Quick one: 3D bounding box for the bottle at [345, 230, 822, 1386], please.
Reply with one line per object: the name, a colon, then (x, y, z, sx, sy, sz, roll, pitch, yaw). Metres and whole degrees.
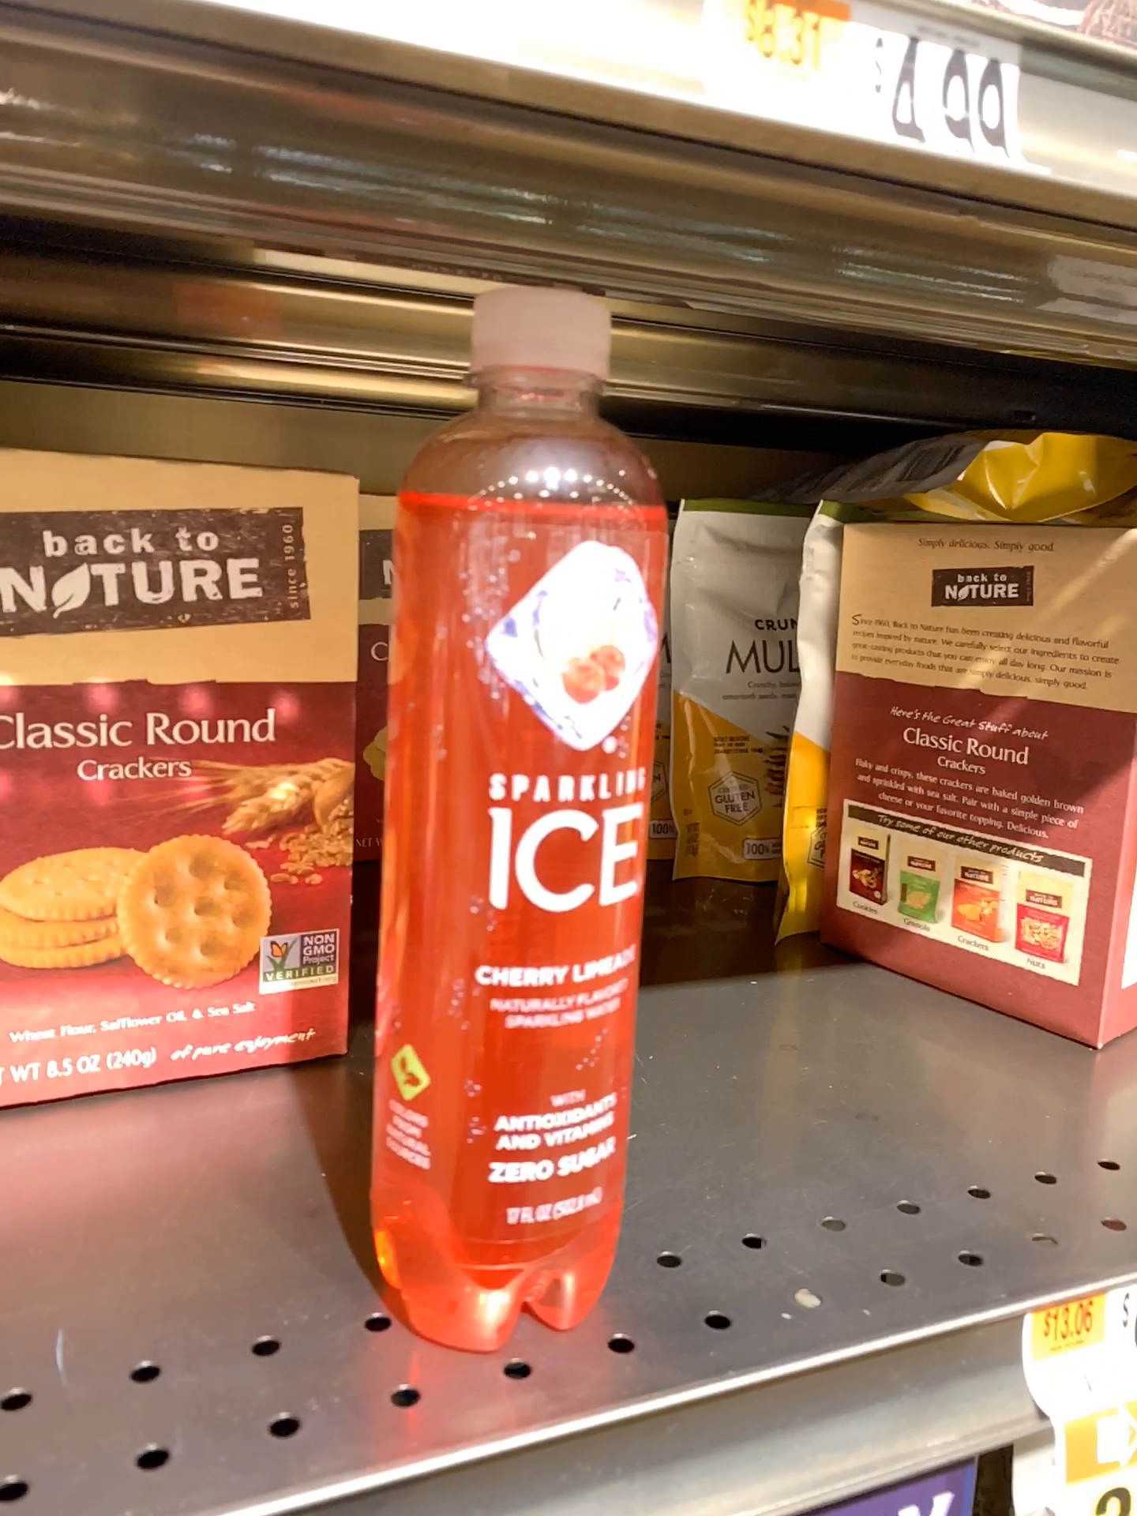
bottle: (-0.004, 0.012, 0.245, 0.066, 0.211, 0.060, 4, 12, -1)
